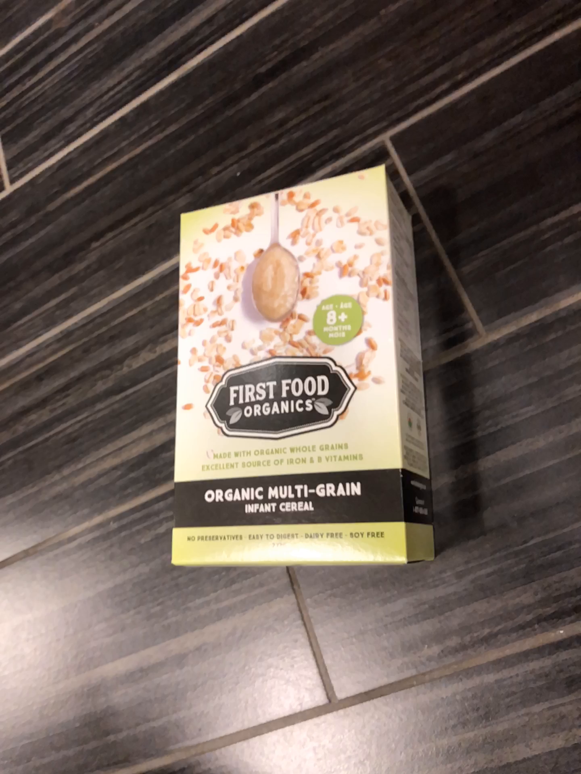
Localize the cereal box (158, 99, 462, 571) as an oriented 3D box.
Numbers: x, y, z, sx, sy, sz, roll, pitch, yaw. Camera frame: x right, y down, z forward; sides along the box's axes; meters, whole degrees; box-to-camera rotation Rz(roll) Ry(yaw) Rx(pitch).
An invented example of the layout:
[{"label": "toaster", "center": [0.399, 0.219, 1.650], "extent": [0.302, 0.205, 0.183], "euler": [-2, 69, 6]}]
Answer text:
[{"label": "cereal box", "center": [0.005, -0.021, 0.358], "extent": [0.140, 0.060, 0.230], "euler": [-9, 73, 22]}]
